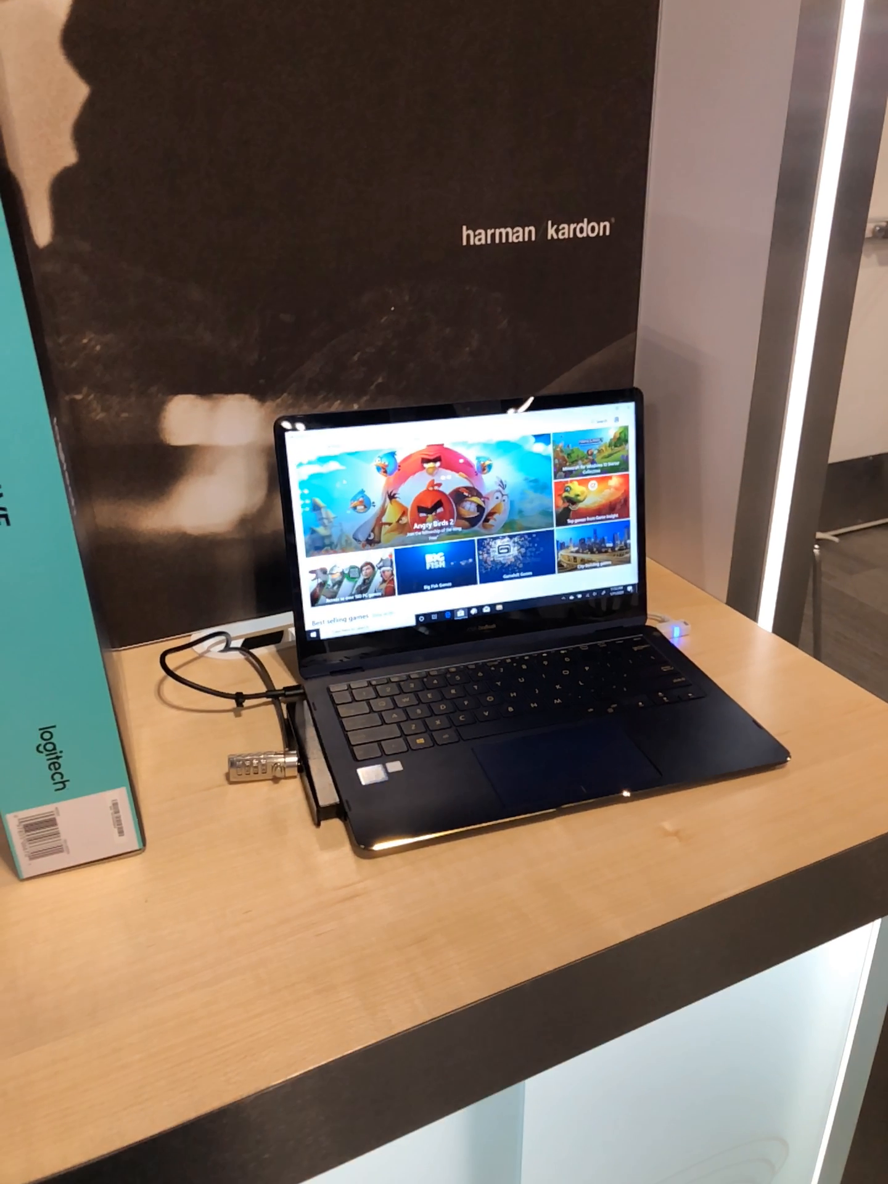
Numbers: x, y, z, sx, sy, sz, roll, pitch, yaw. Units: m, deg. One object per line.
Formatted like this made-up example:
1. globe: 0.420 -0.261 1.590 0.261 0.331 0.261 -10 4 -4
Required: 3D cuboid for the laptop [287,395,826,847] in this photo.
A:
1. laptop: 0.058 -0.005 0.693 0.291 0.190 0.249 -8 26 -15
